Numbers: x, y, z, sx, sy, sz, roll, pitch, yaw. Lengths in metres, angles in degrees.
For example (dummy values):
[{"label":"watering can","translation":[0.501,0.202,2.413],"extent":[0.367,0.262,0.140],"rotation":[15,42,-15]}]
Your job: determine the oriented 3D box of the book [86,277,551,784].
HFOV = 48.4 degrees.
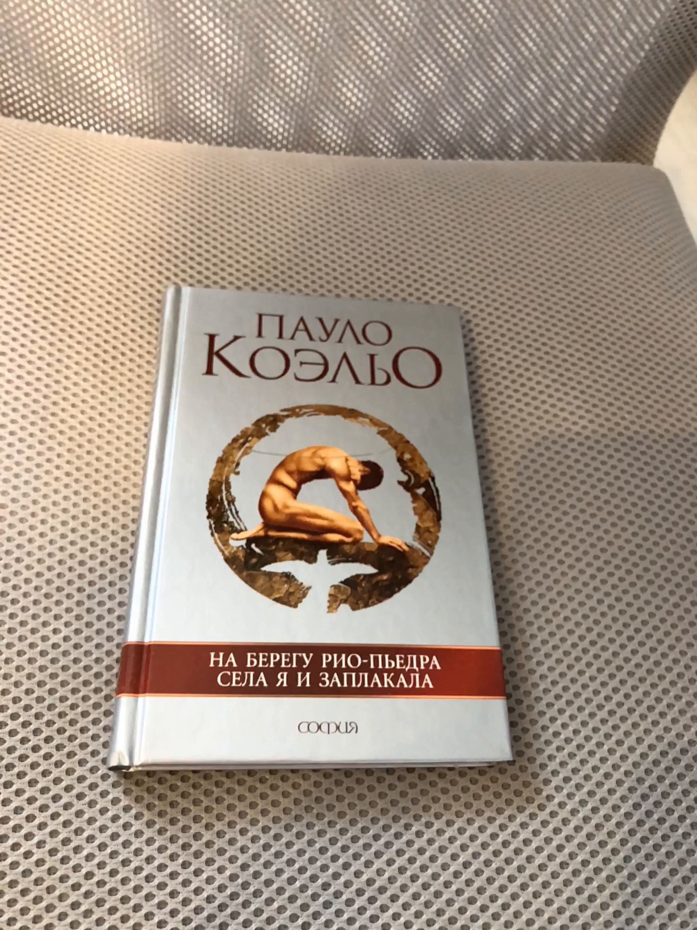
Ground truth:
[{"label":"book","translation":[-0.009,0.014,0.267],"extent":[0.131,0.020,0.174],"rotation":[3,61,-8]}]
